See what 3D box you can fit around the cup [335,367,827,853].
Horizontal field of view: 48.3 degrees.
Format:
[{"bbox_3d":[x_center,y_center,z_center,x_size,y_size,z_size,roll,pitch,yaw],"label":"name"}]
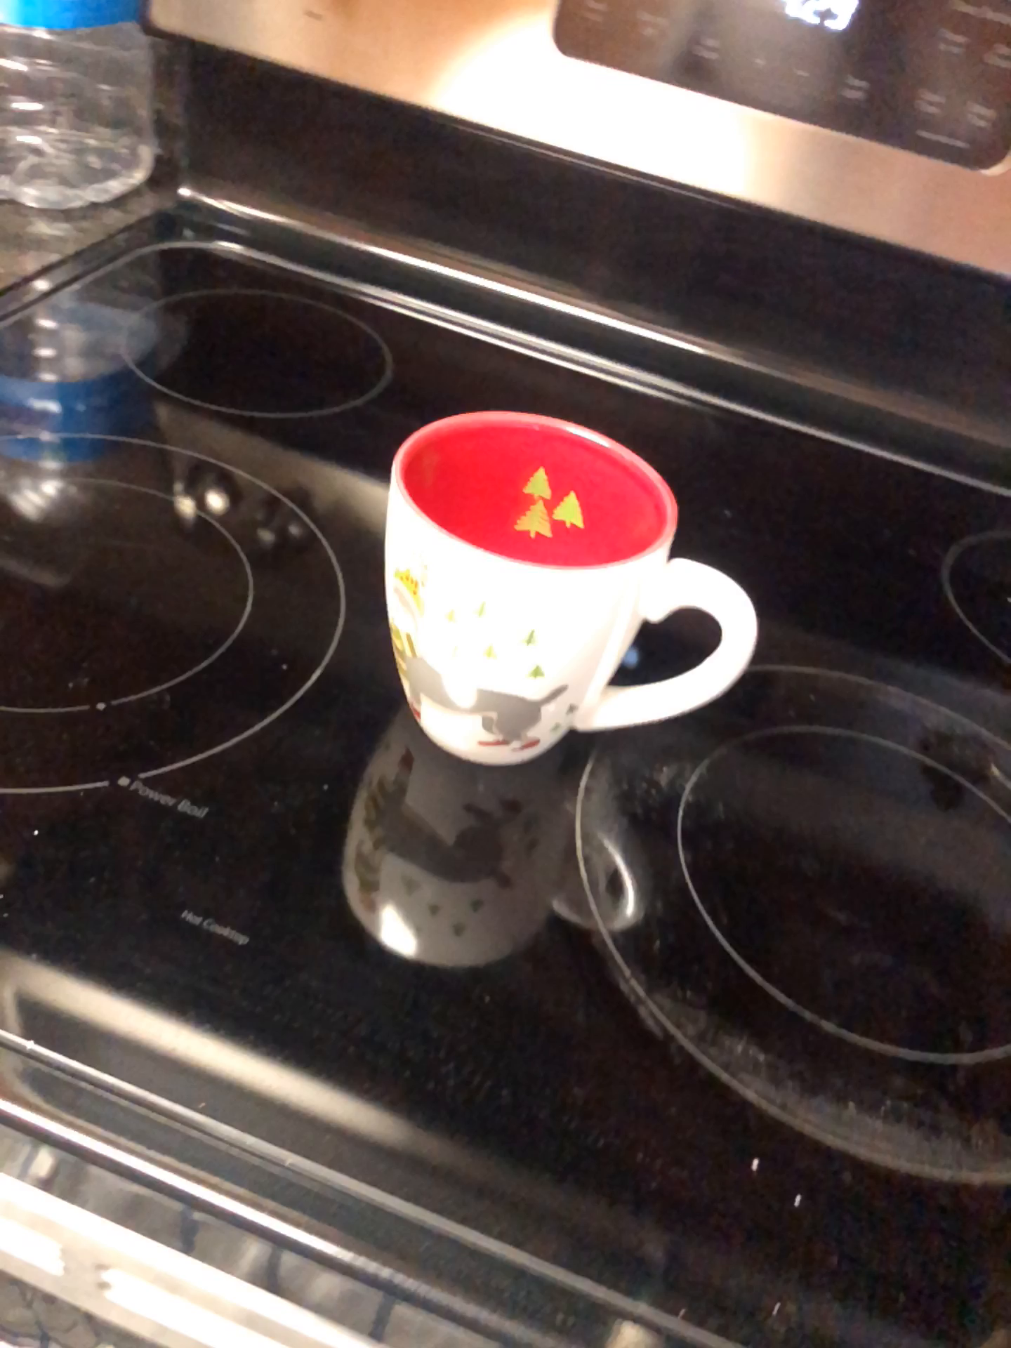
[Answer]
[{"bbox_3d":[0.027,-0.026,0.409,0.140,0.099,0.101,19,41,6],"label":"cup"}]
